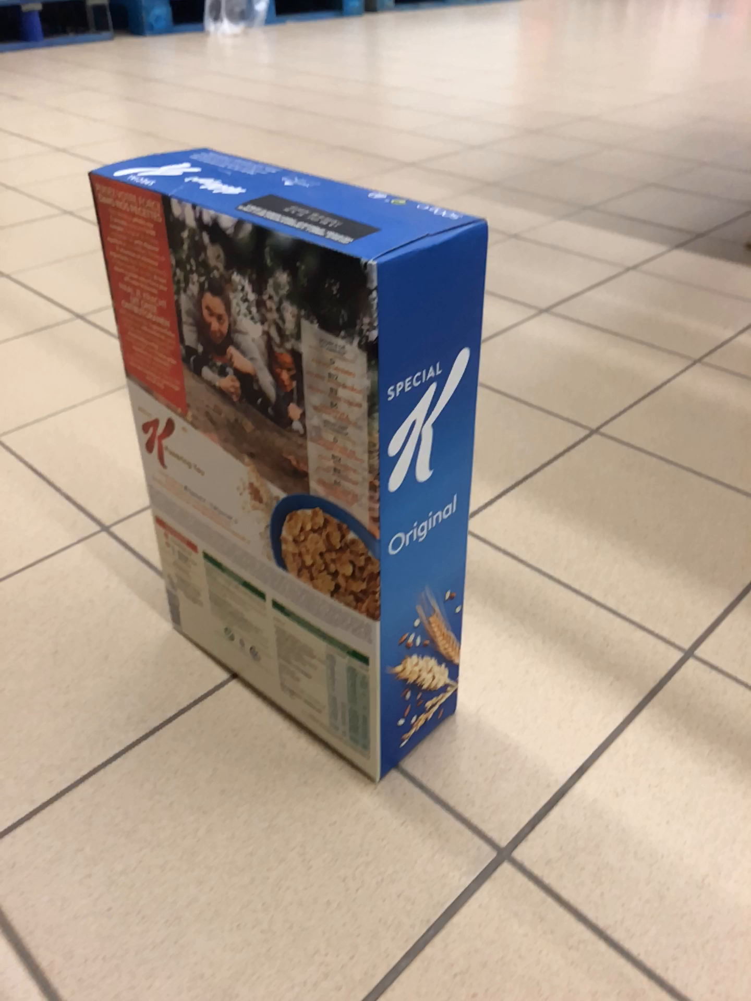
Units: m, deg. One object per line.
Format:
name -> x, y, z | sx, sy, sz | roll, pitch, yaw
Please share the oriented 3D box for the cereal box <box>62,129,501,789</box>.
cereal box -> -0.051, -0.021, 0.449 | 0.210, 0.298, 0.070 | 27, 43, 34
